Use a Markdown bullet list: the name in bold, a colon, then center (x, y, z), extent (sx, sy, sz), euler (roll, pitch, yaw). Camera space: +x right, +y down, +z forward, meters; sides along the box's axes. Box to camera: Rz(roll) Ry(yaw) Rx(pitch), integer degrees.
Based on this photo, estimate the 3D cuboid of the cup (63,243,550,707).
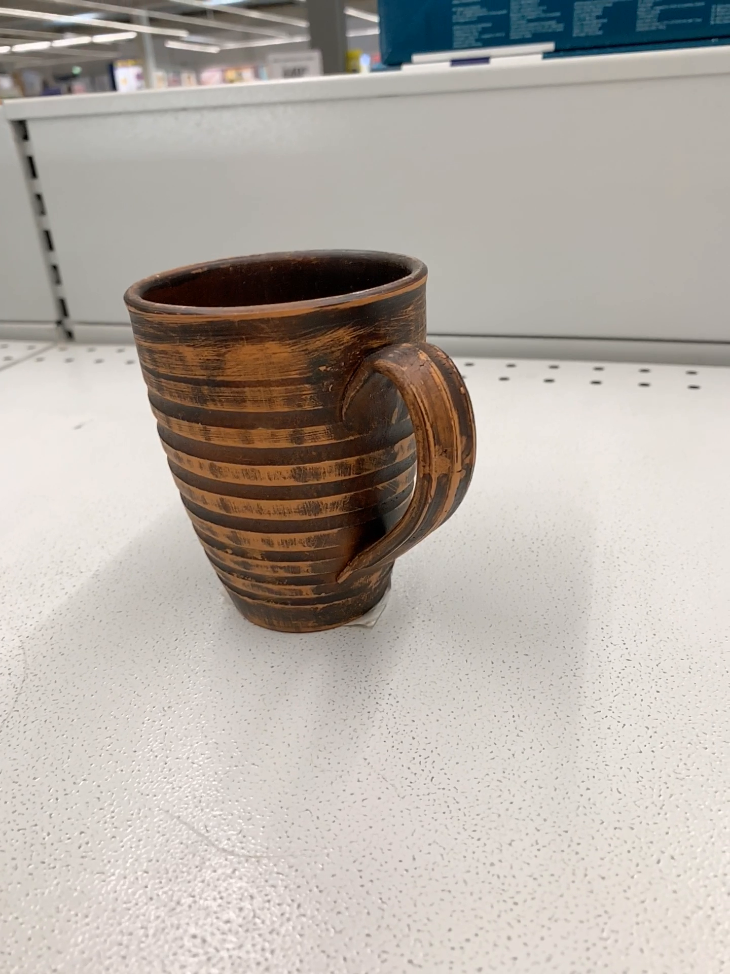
- **cup**: center (-0.016, -0.016, 0.225), extent (0.106, 0.089, 0.083), euler (21, 35, 41)
